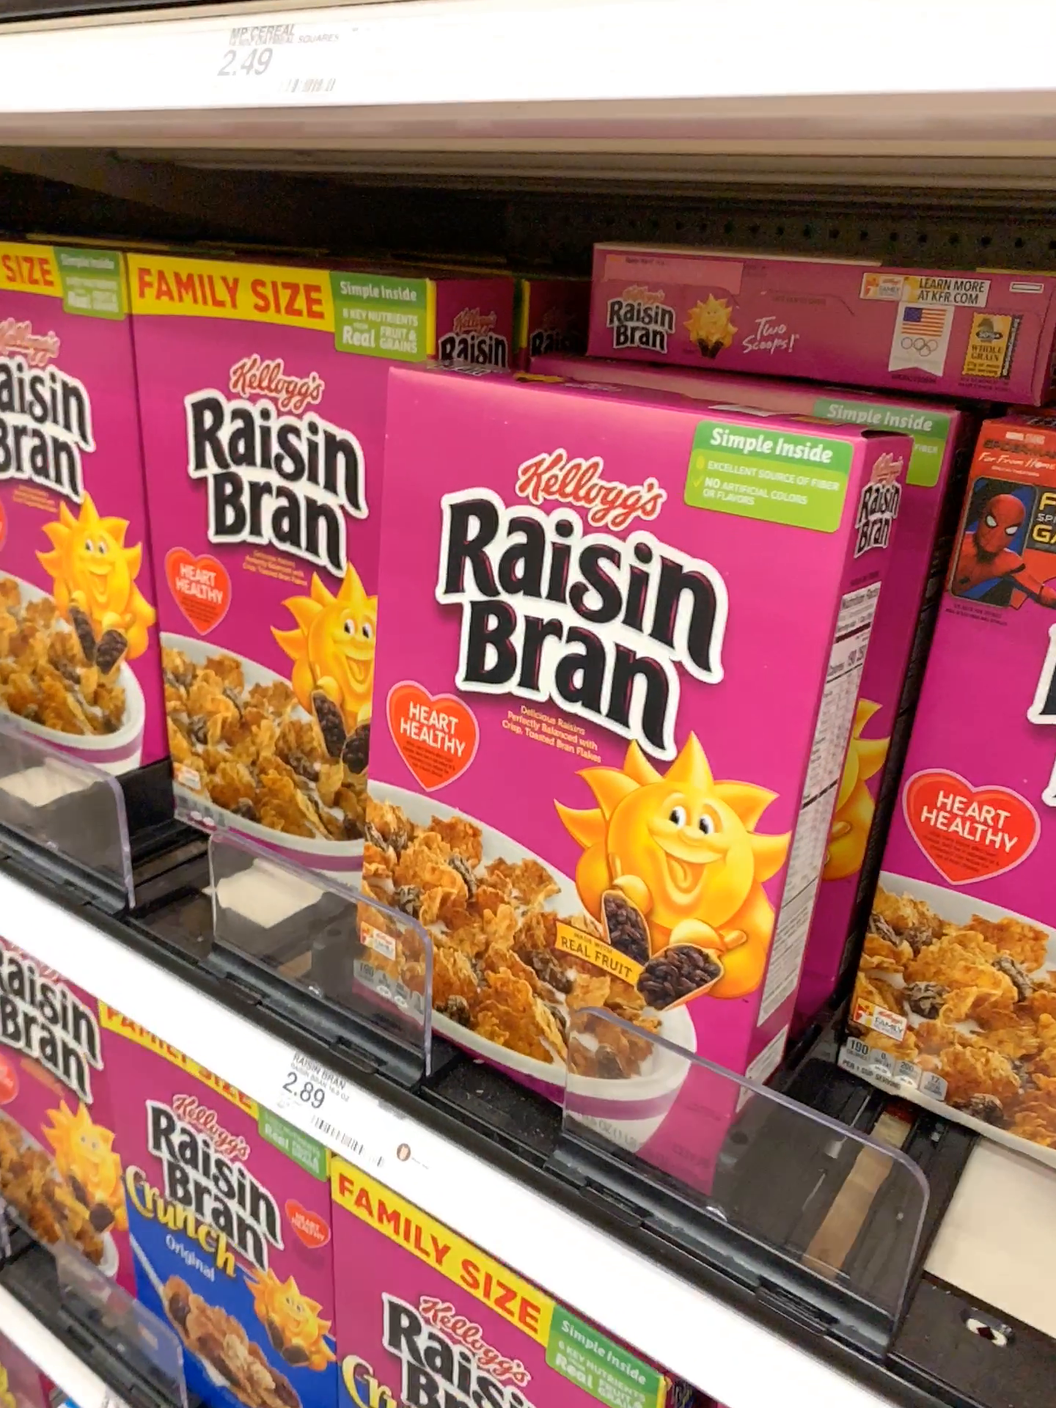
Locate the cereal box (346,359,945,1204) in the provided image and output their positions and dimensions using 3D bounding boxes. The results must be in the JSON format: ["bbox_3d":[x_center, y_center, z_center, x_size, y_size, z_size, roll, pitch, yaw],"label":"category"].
[{"bbox_3d":[0.025,0.021,0.428,0.200,0.279,0.050,18,22,31],"label":"cereal box"}]

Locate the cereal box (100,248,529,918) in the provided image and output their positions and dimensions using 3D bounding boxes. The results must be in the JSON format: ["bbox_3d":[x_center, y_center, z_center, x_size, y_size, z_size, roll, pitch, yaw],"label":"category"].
[{"bbox_3d":[-0.117,-0.069,0.569,0.220,0.299,0.060,18,25,30],"label":"cereal box"}]
